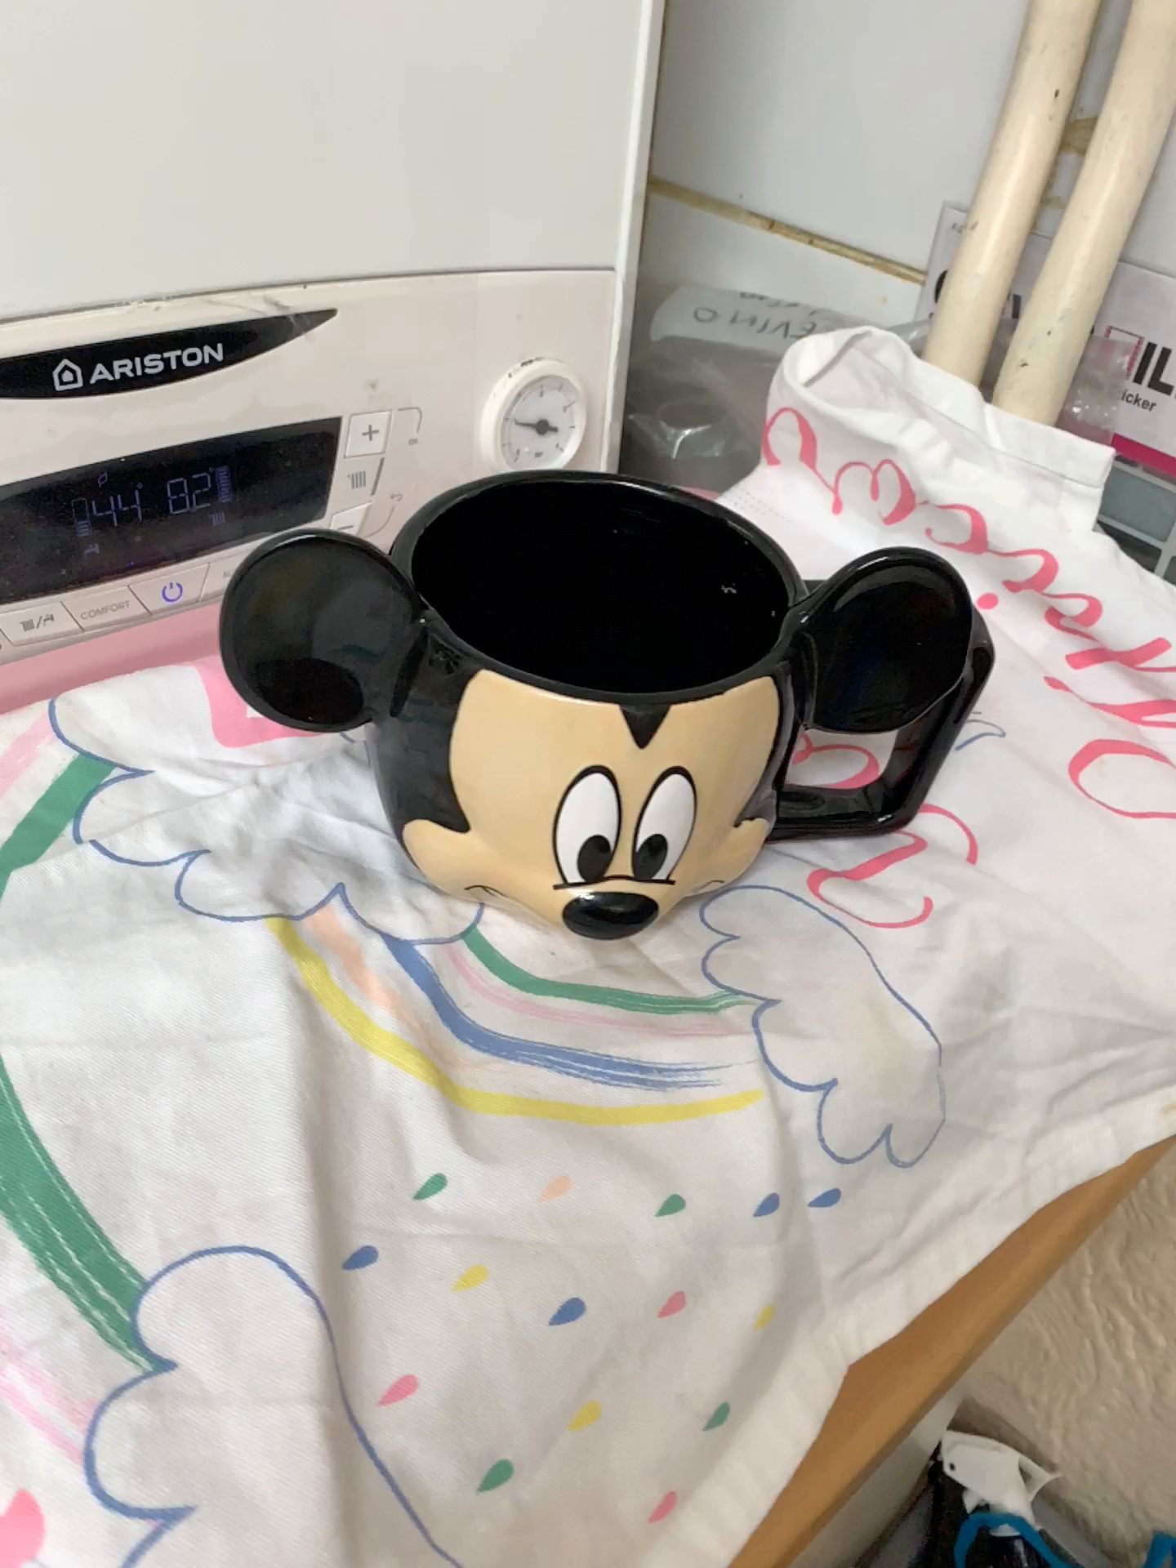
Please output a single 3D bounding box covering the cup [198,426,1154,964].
[{"bbox_3d":[0.012,-0.026,0.296,0.190,0.079,0.101,-2,39,-11],"label":"cup"}]
